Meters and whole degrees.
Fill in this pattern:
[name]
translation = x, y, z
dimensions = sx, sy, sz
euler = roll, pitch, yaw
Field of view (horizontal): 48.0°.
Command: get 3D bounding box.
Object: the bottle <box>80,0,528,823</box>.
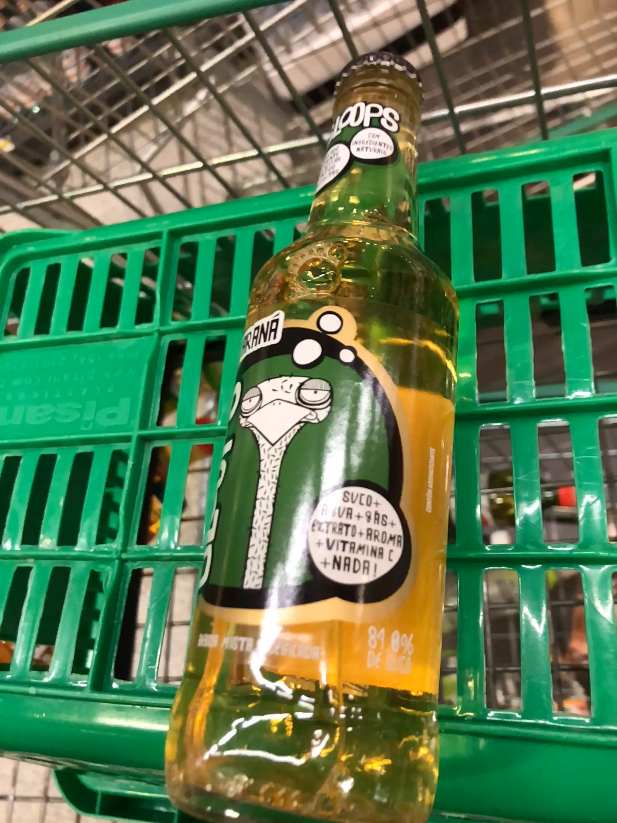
[bottle]
translation = 0.014, -0.009, 0.172
dimensions = 0.070, 0.060, 0.220
euler = -2, 68, 22
